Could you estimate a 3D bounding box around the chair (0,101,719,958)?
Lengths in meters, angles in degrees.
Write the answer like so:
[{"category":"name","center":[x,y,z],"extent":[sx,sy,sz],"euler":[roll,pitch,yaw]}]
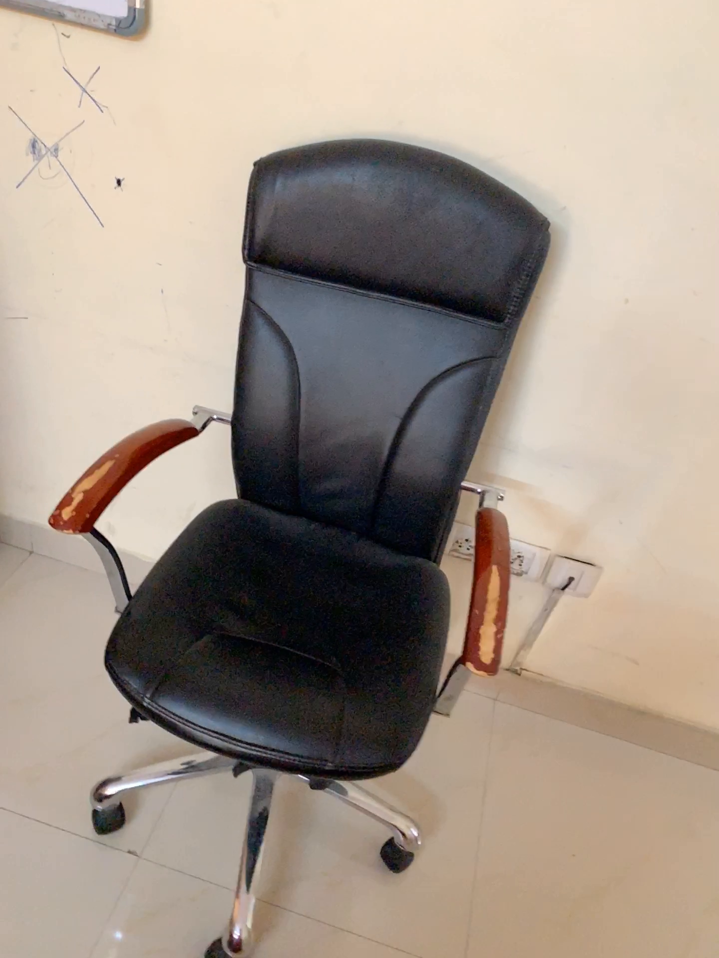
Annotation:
[{"category":"chair","center":[-0.078,0.134,1.134],"extent":[0.700,1.081,0.756],"euler":[17,36,7]}]
